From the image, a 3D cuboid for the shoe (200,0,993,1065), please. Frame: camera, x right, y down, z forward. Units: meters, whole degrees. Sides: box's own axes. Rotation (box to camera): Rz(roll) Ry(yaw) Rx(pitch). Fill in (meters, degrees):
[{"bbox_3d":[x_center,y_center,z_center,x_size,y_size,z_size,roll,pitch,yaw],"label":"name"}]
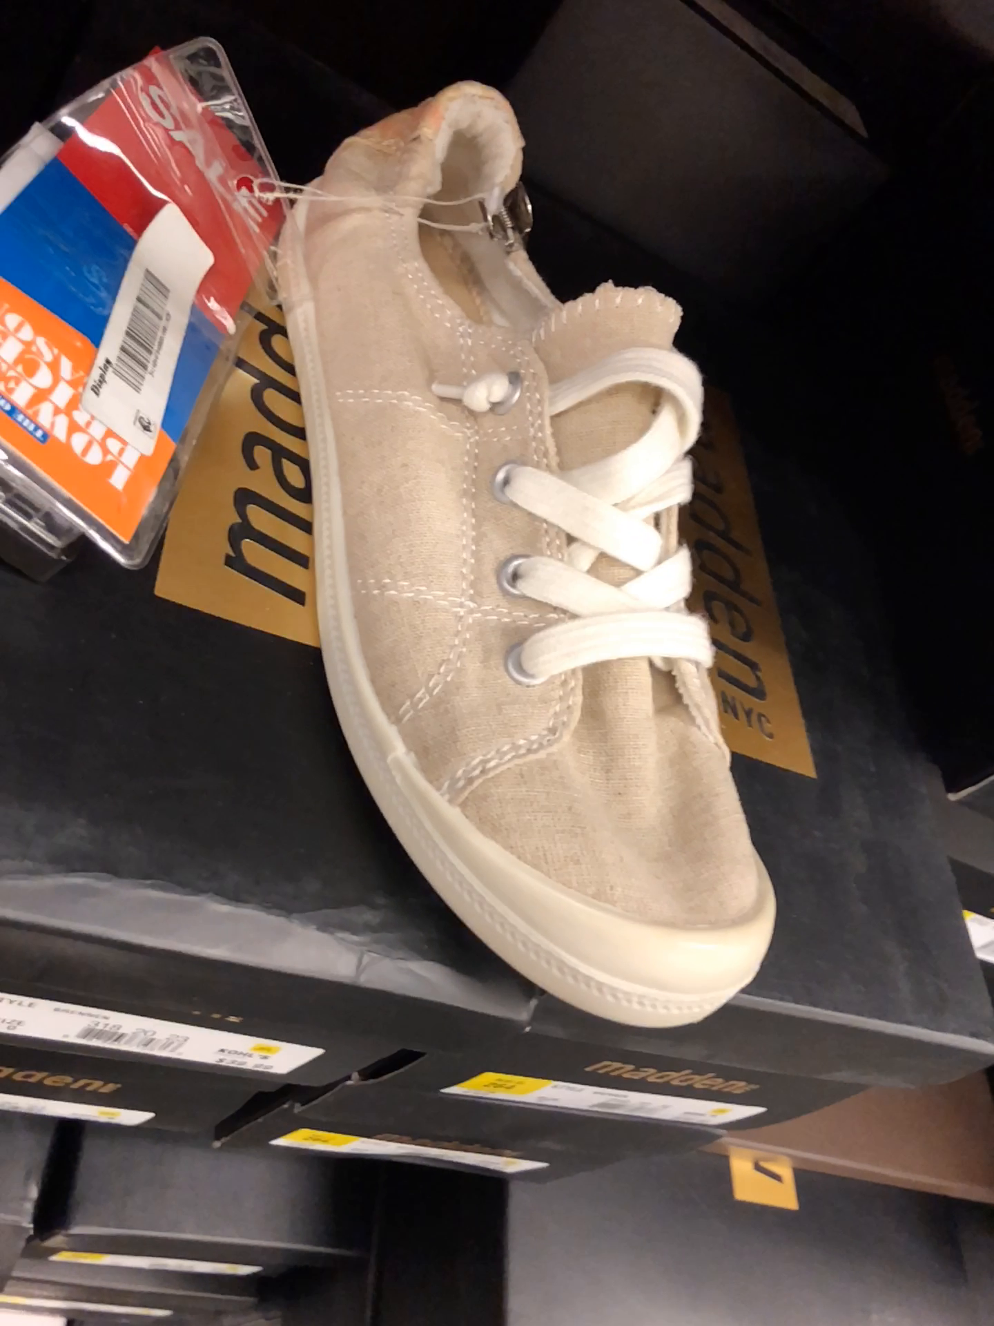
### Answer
[{"bbox_3d":[0.007,-0.037,0.238,0.090,0.070,0.210,6,56,-37],"label":"shoe"}]
